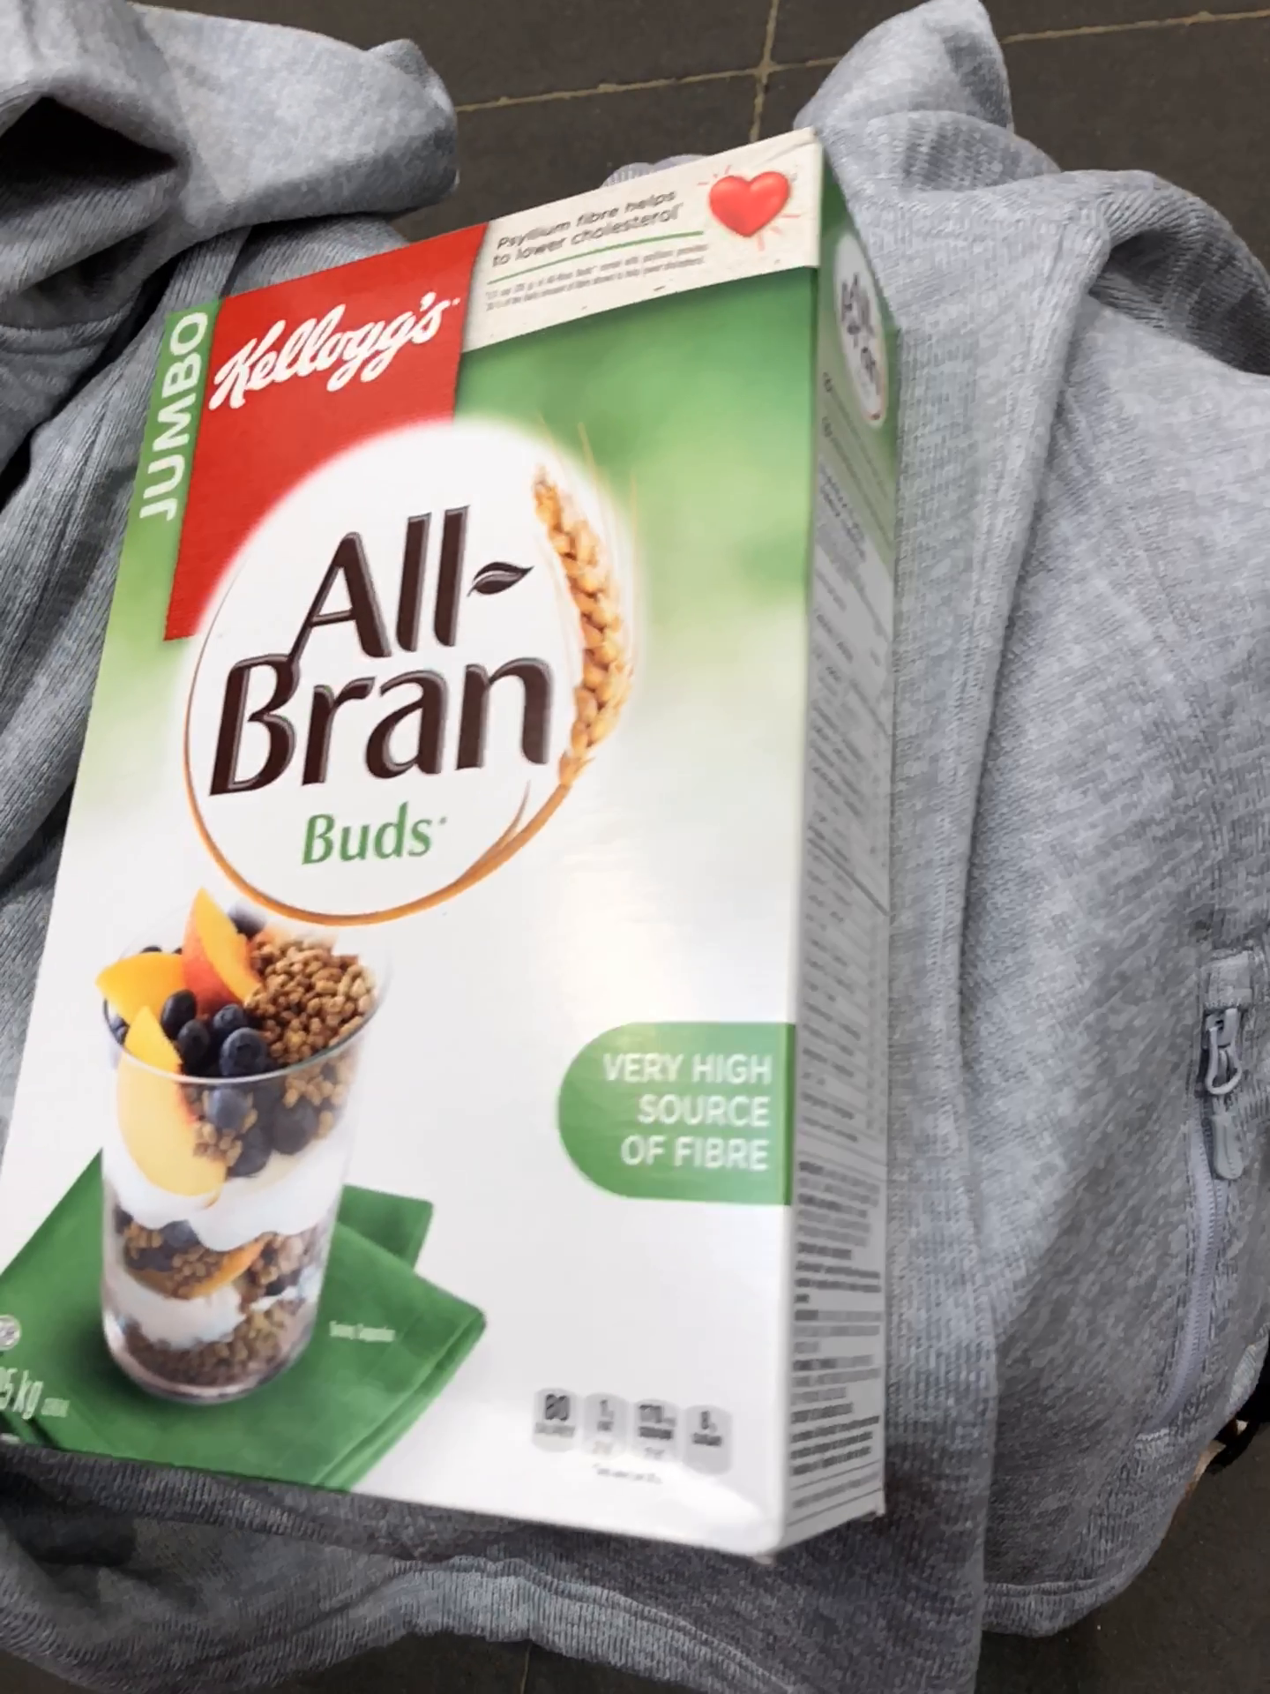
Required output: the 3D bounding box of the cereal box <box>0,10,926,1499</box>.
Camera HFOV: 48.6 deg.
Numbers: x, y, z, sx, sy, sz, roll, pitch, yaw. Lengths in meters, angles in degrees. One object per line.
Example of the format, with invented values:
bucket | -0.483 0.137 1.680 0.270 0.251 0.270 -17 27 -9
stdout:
cereal box | -0.041 -0.022 0.333 0.201 0.070 0.300 -6 68 26
